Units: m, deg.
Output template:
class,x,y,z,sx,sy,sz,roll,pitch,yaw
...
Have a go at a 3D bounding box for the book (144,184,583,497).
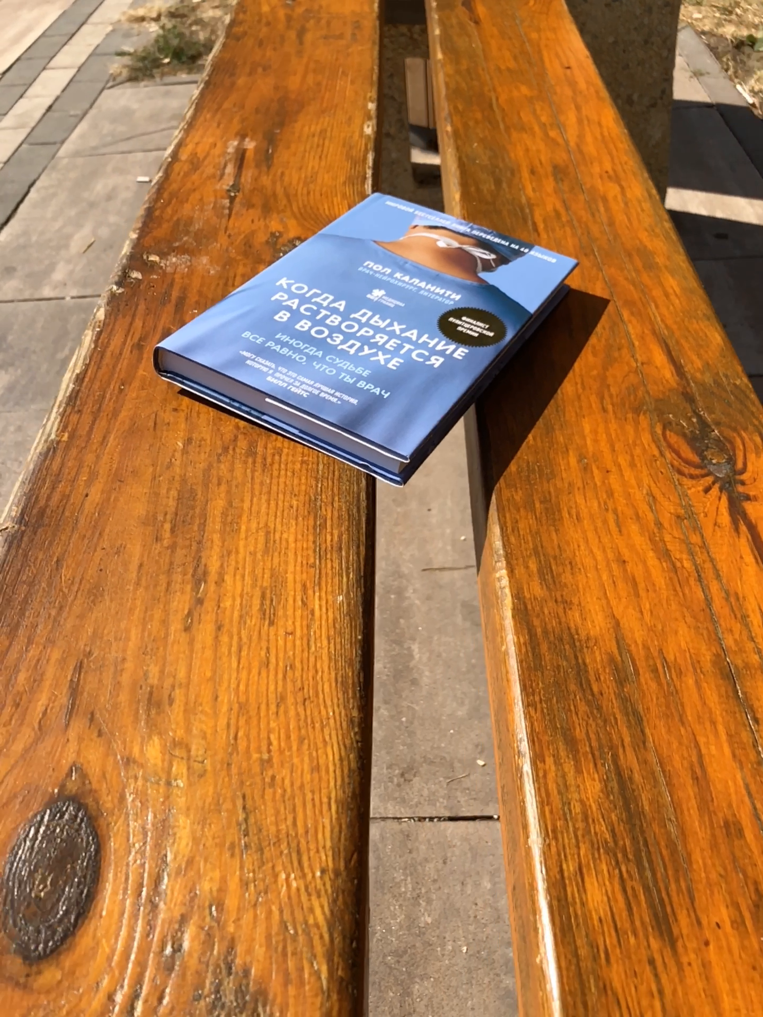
class,x,y,z,sx,sy,sz,roll,pitch,yaw
book,0.001,-0.105,0.450,0.140,0.025,0.211,25,49,19
